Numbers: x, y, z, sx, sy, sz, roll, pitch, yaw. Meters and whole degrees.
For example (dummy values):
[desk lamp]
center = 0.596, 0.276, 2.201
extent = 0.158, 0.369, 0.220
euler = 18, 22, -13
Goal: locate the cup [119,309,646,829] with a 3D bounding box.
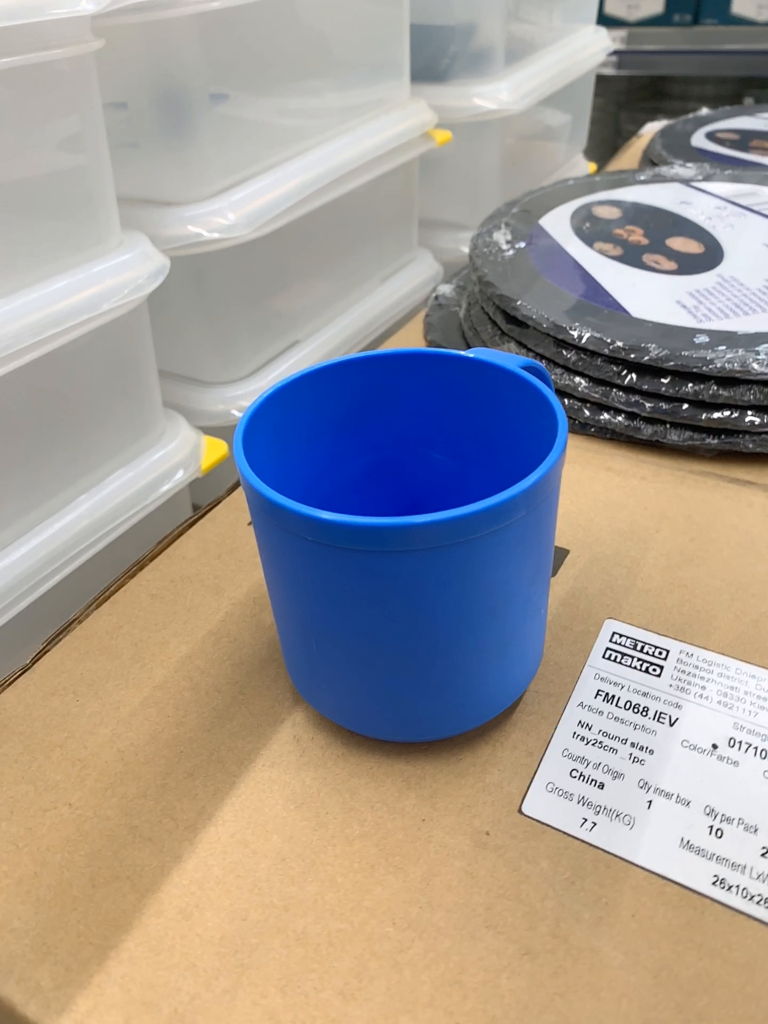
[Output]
[cup]
center = 0.007, 0.004, 0.224
extent = 0.089, 0.071, 0.110
euler = 18, 43, 29
